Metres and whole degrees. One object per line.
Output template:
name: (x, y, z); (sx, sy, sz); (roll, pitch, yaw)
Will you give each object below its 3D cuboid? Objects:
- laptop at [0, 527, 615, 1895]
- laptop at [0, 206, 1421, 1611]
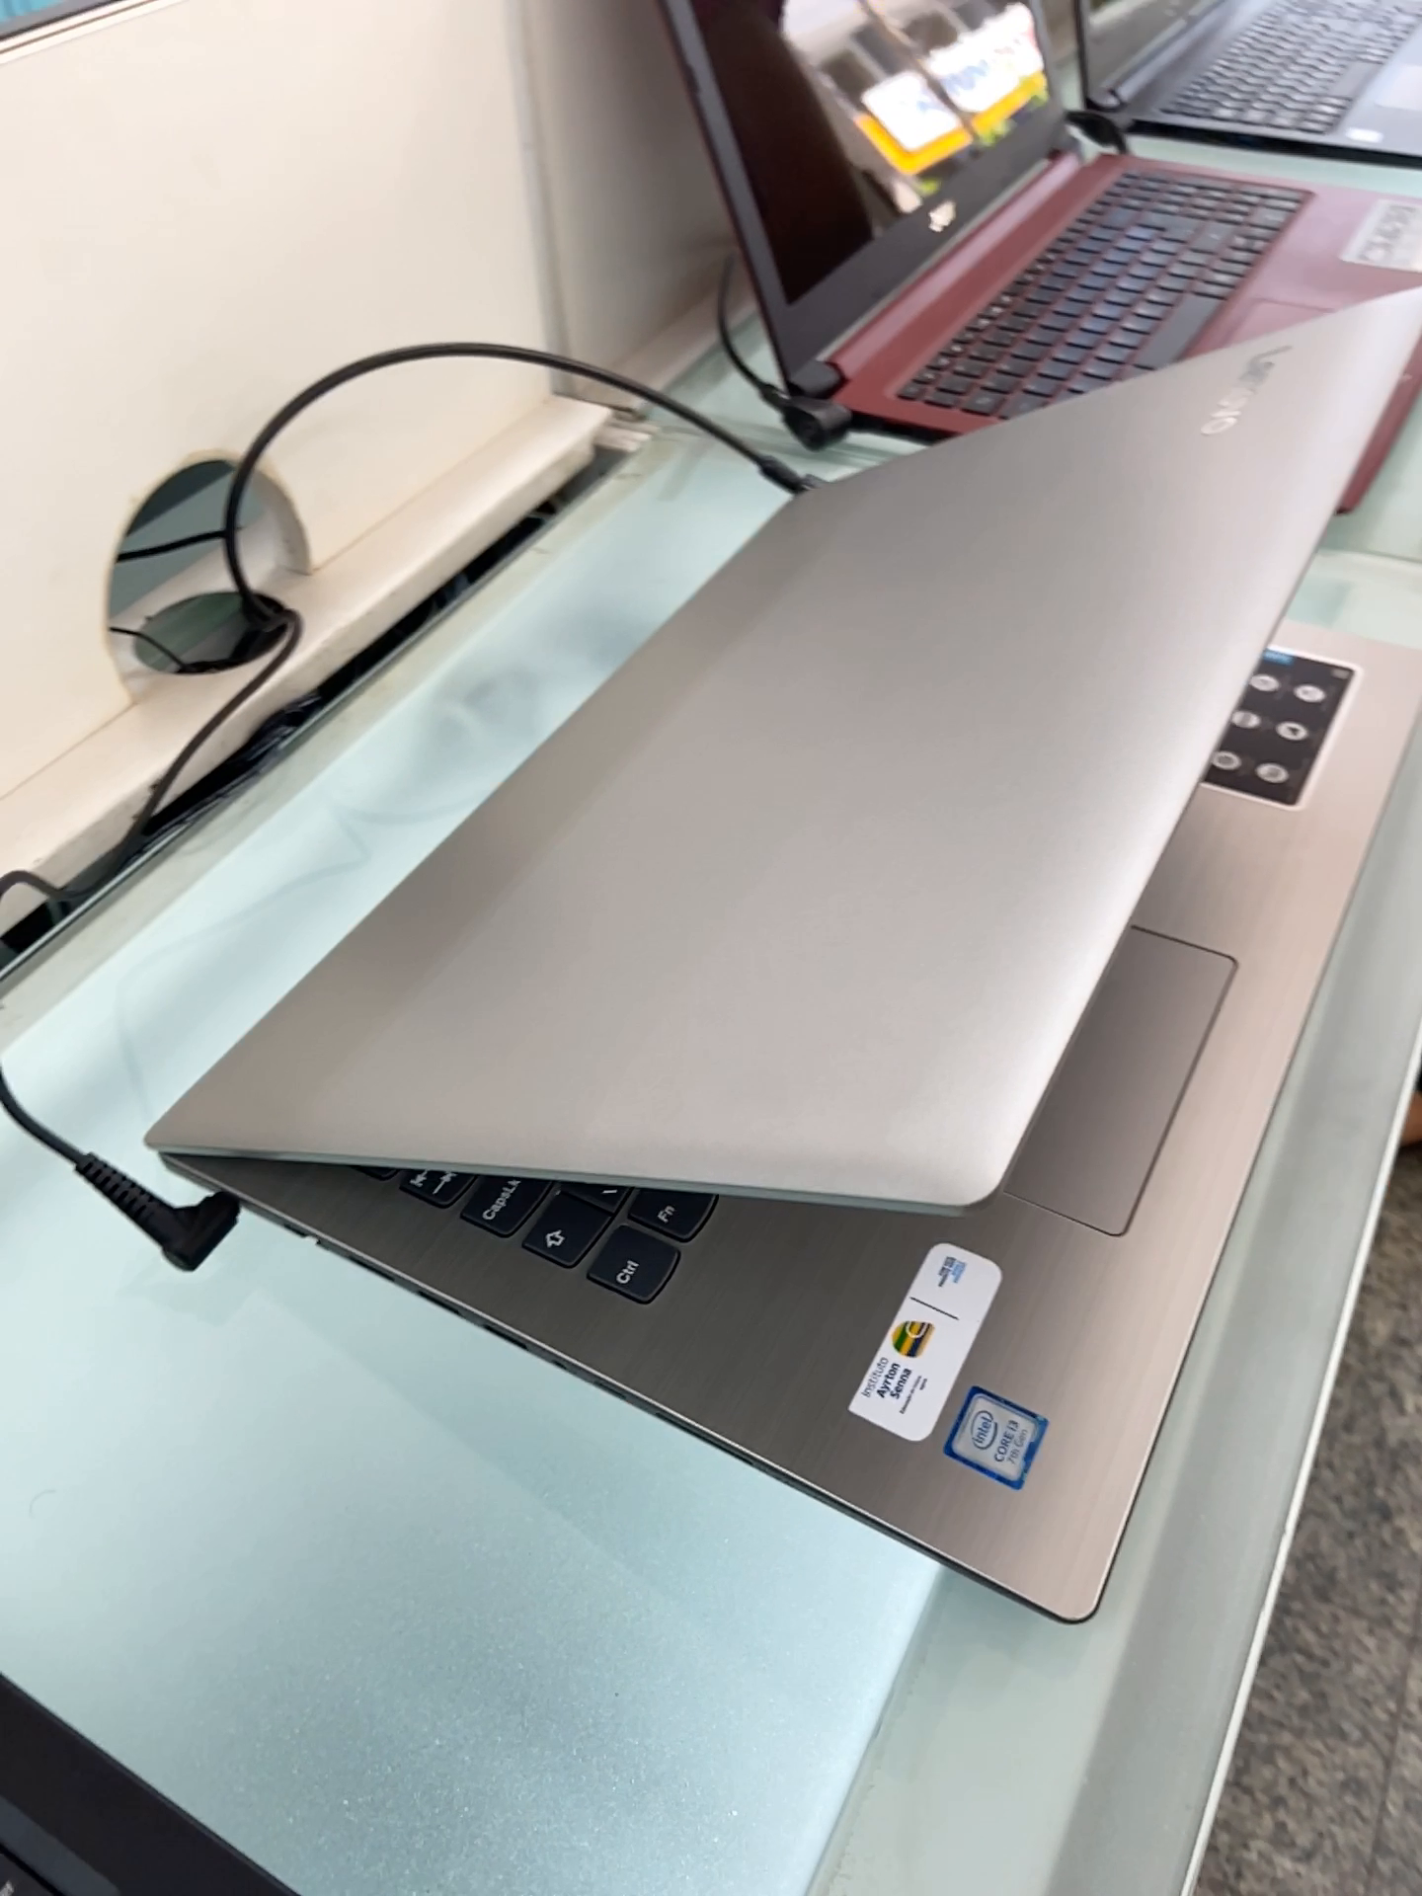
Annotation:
laptop: (-0.286, 0.172, 0.106); (0.400, 0.211, 0.356); (17, 46, 20)
laptop: (0.054, -0.067, 0.408); (0.246, 0.114, 0.371); (20, 50, 22)
